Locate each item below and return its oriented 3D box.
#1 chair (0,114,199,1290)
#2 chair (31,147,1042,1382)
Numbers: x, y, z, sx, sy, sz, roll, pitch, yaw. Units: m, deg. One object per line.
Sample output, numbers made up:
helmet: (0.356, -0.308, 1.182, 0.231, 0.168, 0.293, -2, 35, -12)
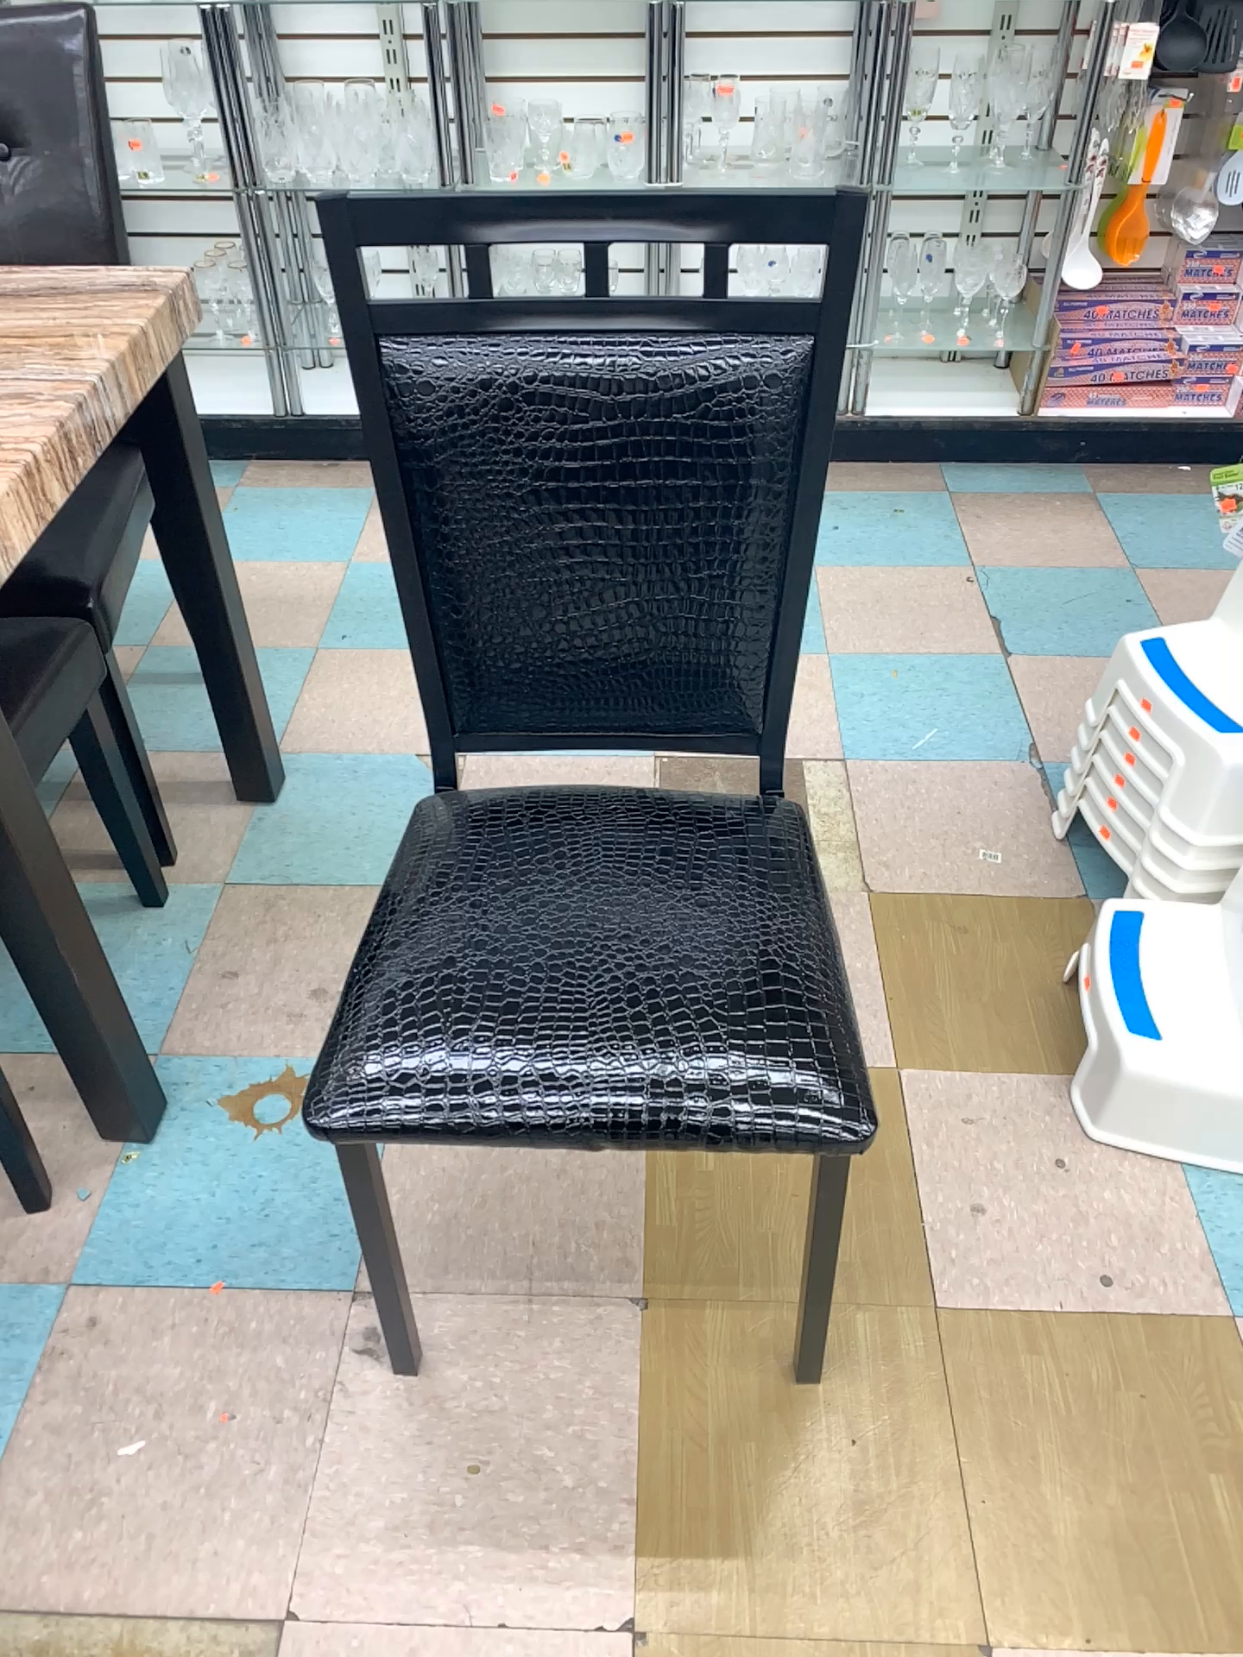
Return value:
chair: (-0.848, -0.081, 1.200, 0.531, 0.923, 0.597, -2, 42, -1)
chair: (-0.027, 0.011, 1.076, 0.461, 0.943, 0.507, 0, 42, 1)
